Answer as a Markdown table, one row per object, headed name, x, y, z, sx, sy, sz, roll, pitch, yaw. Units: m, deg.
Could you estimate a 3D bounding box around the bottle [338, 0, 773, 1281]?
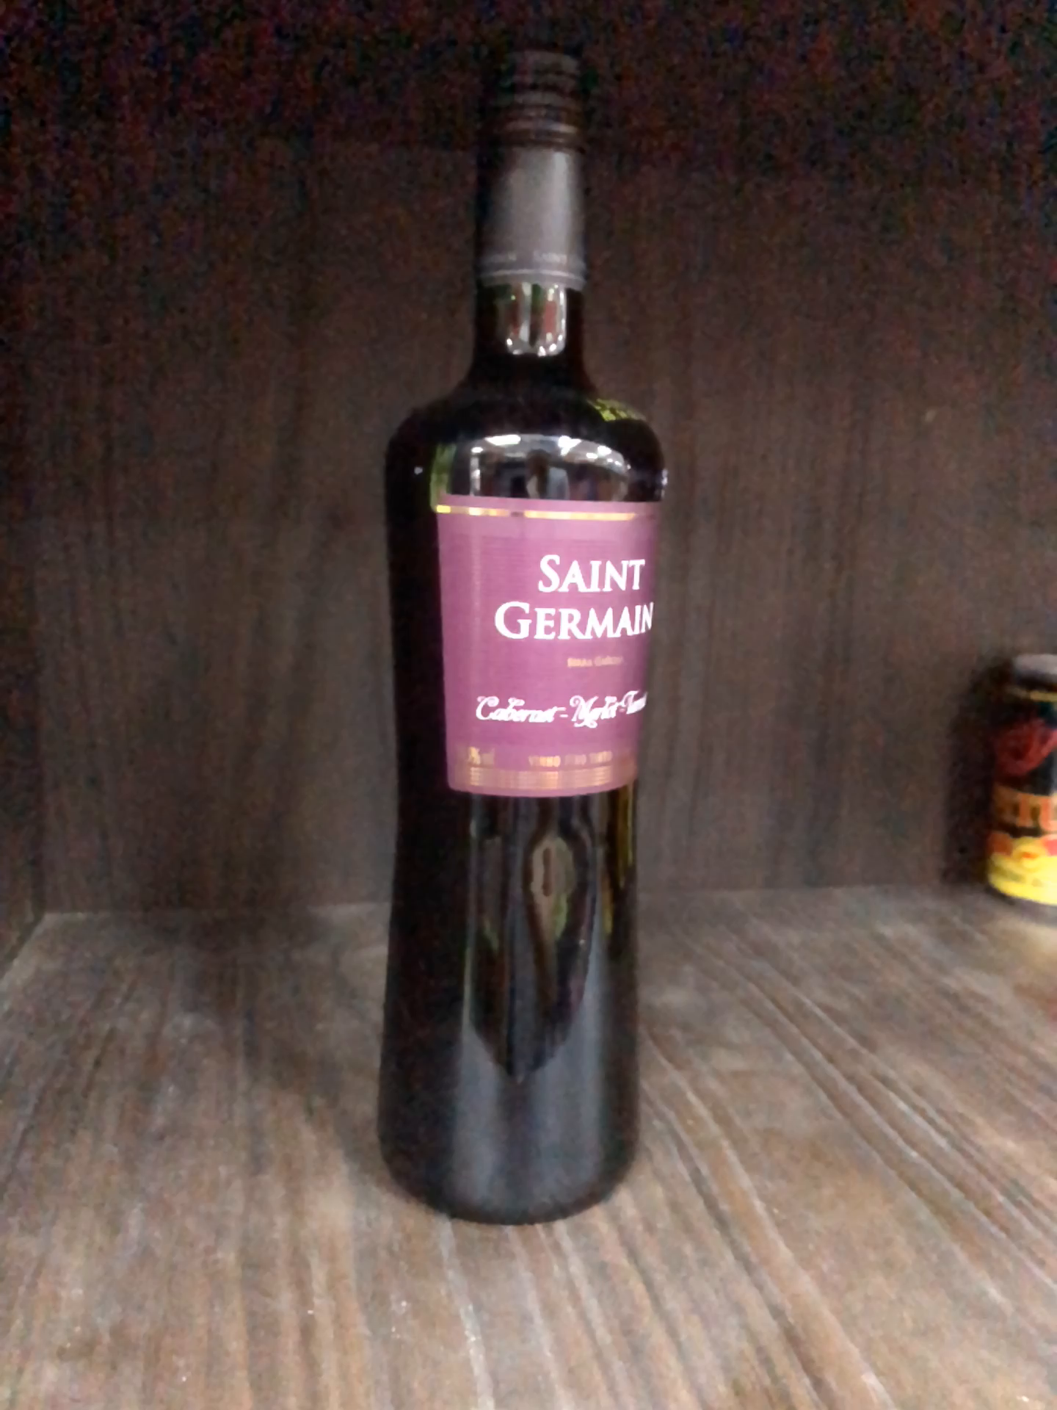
| name | x | y | z | sx | sy | sz | roll | pitch | yaw |
| --- | --- | --- | --- | --- | --- | --- | --- | --- | --- |
| bottle | 0.003 | -0.021 | 0.317 | 0.080 | 0.309 | 0.070 | -5 | 11 | -40 |
